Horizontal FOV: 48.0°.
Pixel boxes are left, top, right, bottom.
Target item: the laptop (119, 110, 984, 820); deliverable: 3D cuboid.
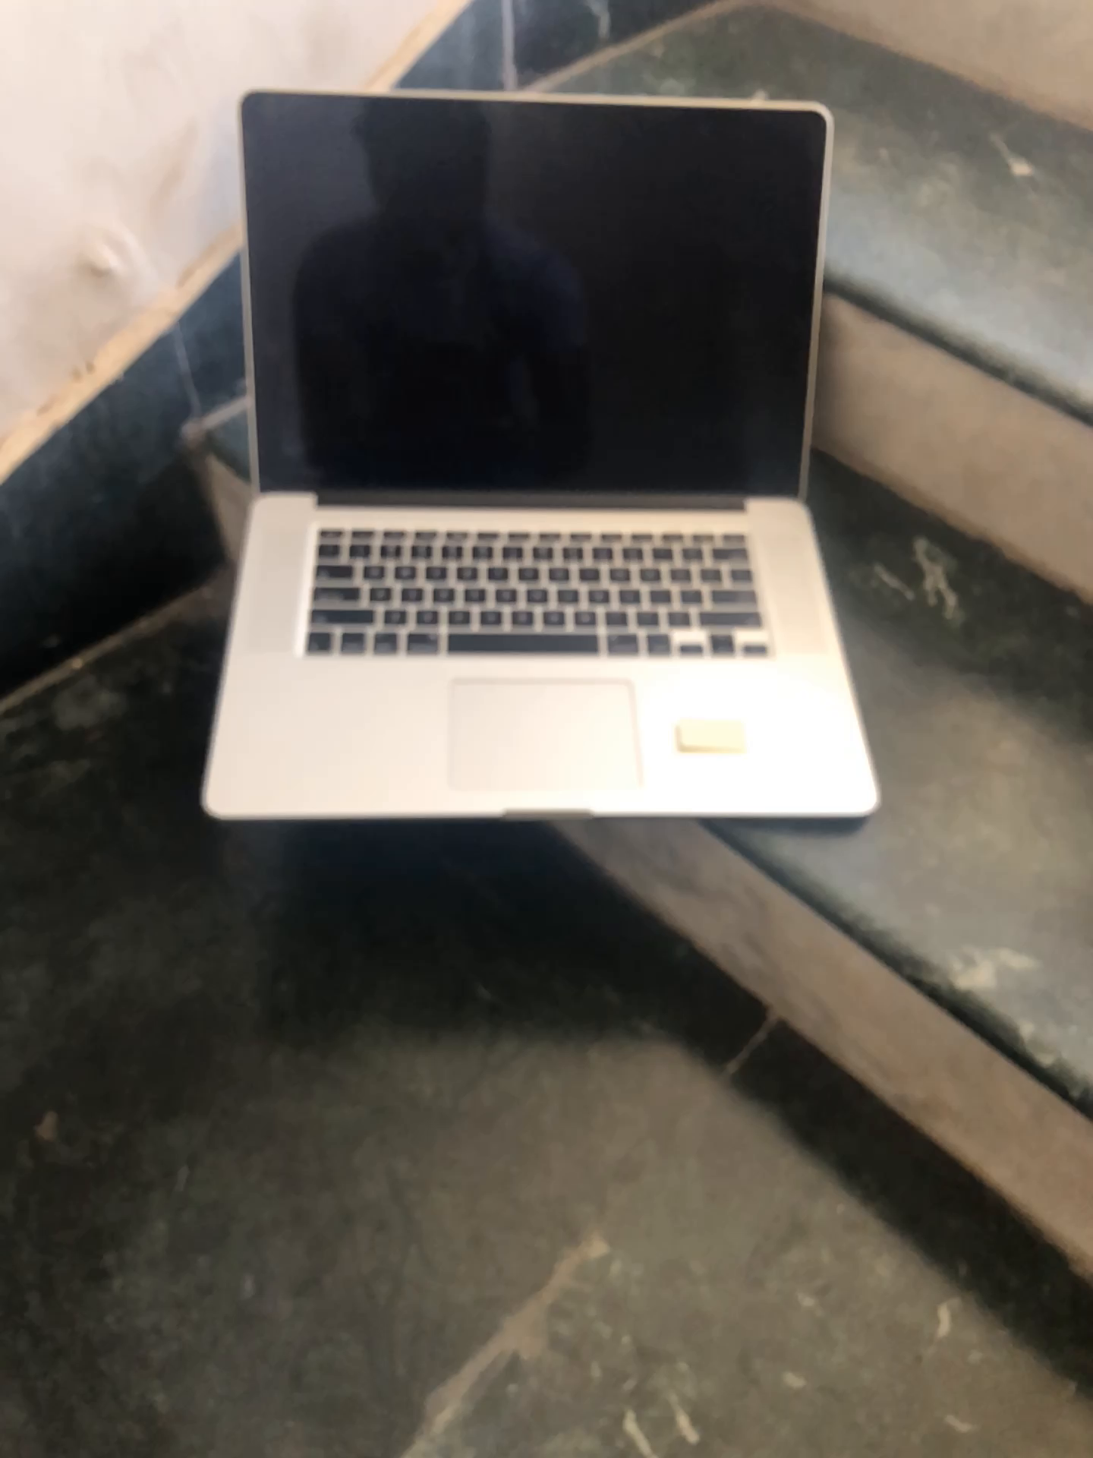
[{"bbox_3d":[-0.010,-0.157,0.673,0.341,0.194,0.365,-1,50,-4],"label":"laptop"}]
